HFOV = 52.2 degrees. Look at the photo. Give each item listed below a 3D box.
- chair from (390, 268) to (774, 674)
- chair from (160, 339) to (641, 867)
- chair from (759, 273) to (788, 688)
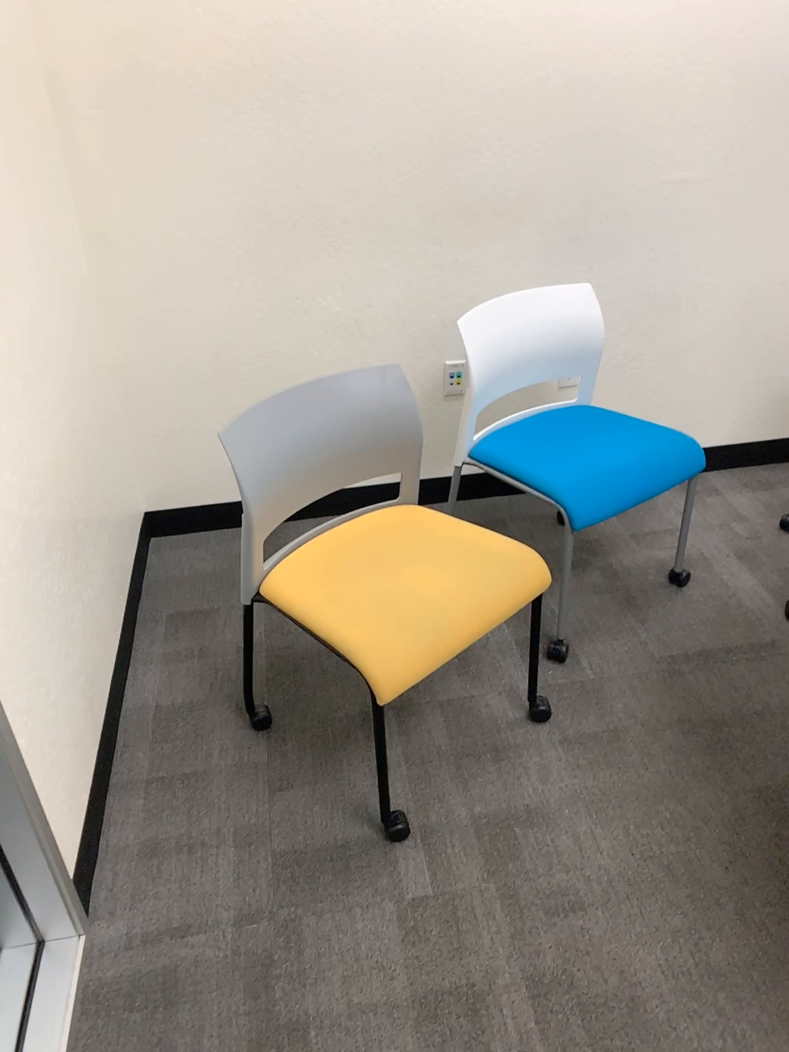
[{"bbox_3d":[0.464,-0.201,2.221,0.640,0.755,0.694,-22,37,-27],"label":"chair"},{"bbox_3d":[0.014,0.098,1.757,0.641,0.716,0.693,-28,40,-34],"label":"chair"},{"bbox_3d":[1.473,-0.173,2.155,0.752,0.765,0.693,11,35,21],"label":"chair"}]
